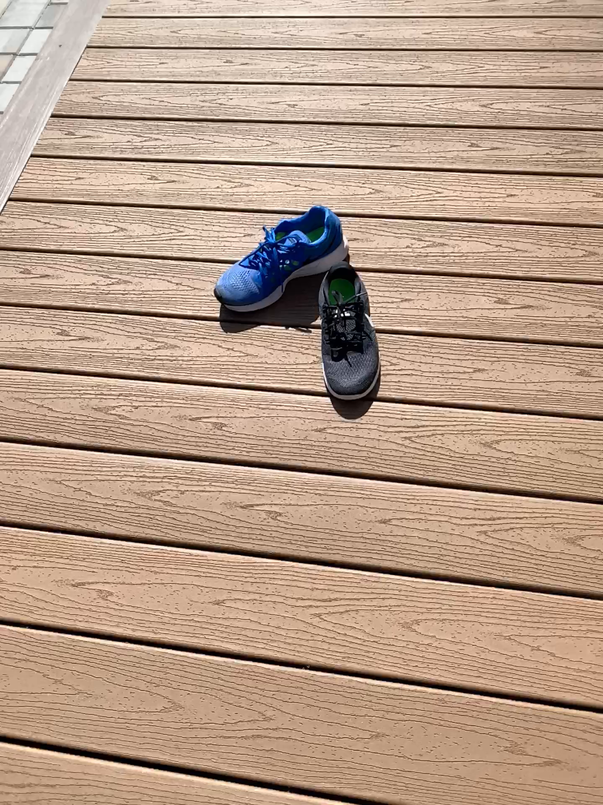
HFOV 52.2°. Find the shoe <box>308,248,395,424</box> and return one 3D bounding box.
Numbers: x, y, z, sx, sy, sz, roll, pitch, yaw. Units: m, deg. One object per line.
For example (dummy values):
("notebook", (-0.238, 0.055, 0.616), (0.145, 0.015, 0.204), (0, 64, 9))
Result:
("shoe", (0.083, -0.120, 1.084), (0.120, 0.110, 0.291), (-5, 59, 2))

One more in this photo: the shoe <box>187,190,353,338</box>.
("shoe", (-0.054, -0.270, 1.201), (0.290, 0.130, 0.120), (-29, 61, -12))
